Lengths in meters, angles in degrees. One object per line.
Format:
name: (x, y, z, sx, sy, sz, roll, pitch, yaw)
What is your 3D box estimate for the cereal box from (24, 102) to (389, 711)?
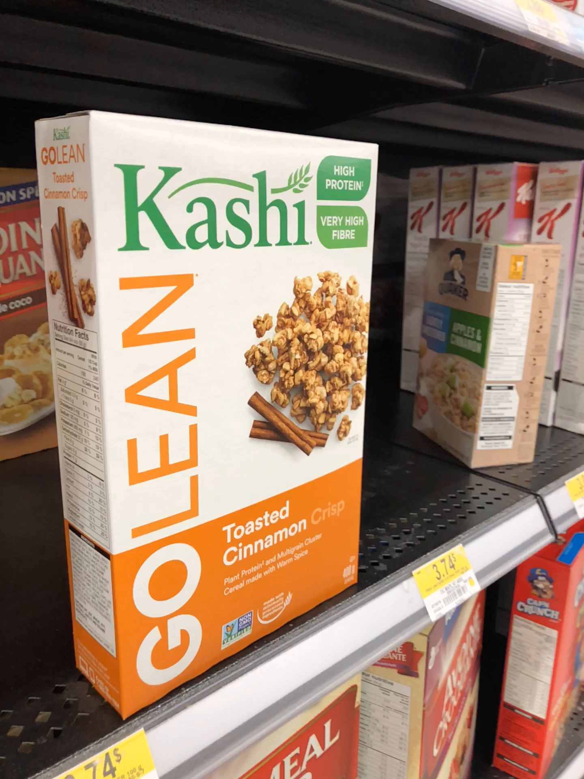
cereal box: (-0.030, 0.001, 0.329, 0.170, 0.249, 0.050, -13, 20, -42)
